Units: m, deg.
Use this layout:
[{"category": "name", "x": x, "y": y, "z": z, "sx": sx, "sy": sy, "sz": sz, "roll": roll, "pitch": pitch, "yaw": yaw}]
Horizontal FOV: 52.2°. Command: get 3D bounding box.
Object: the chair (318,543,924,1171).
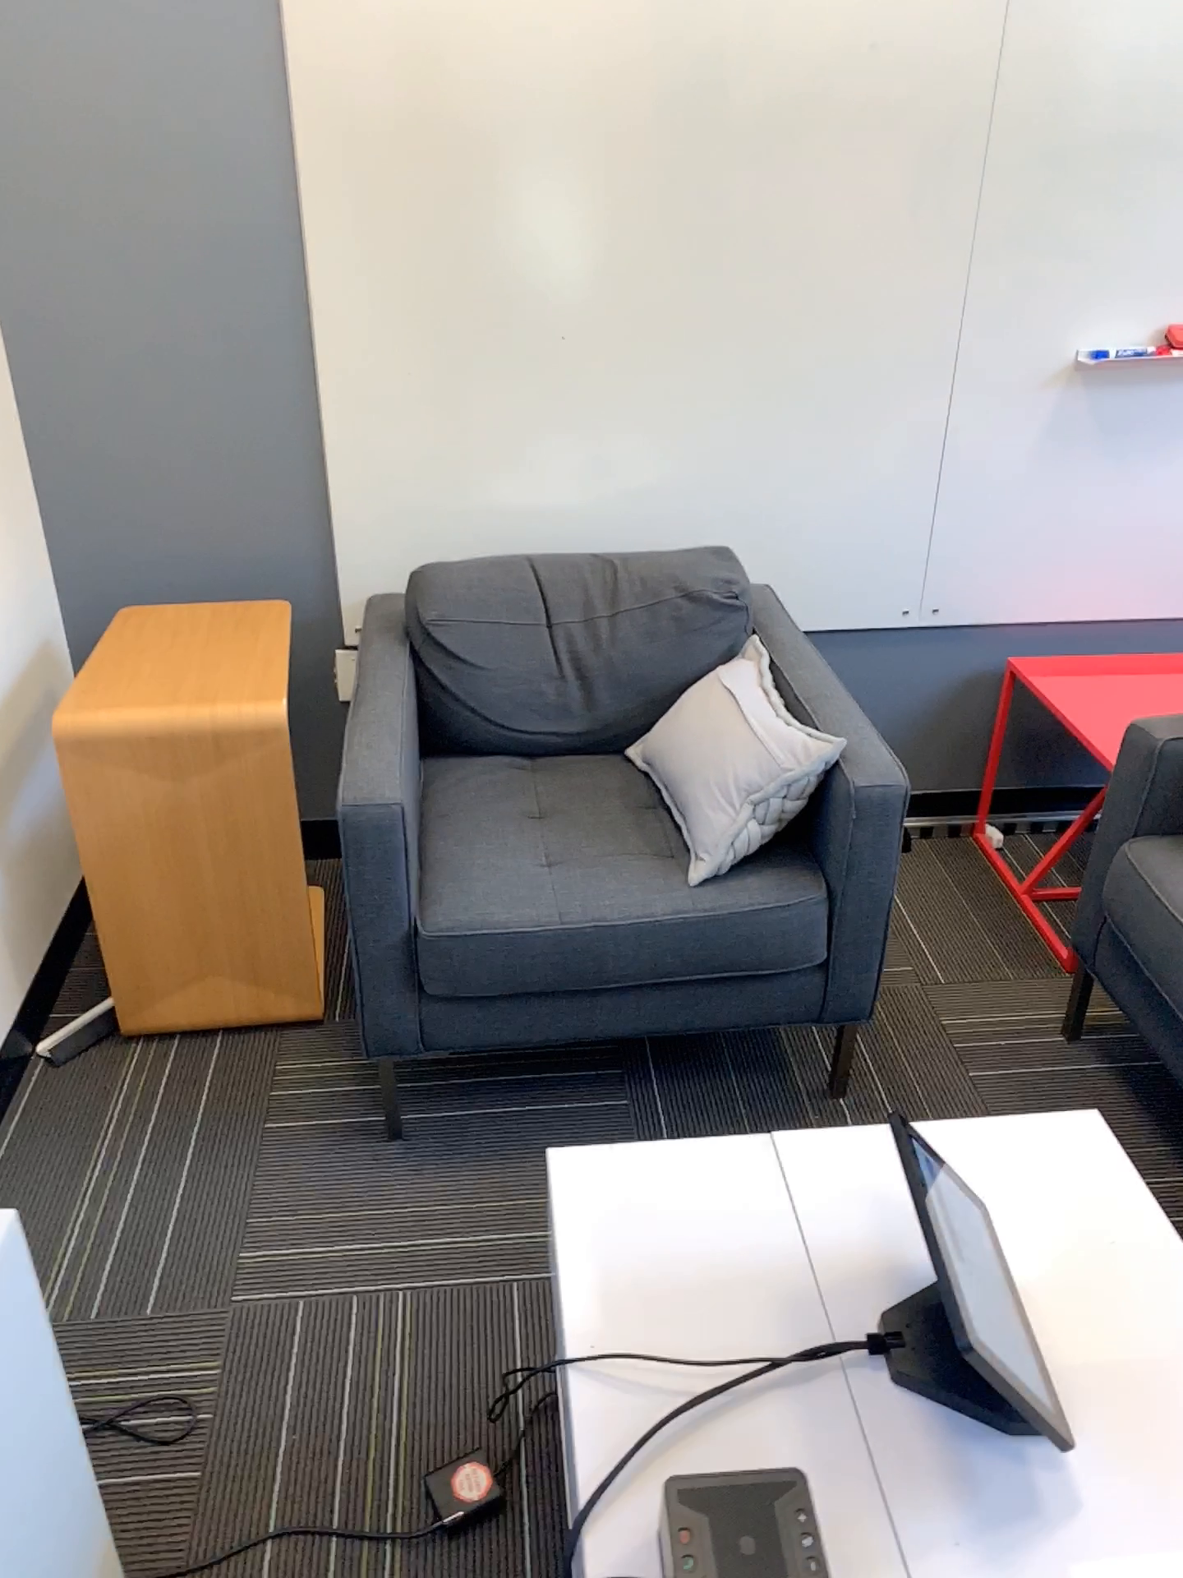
[{"category": "chair", "x": -0.014, "y": 0.052, "z": 2.235, "sx": 0.840, "sy": 0.716, "sz": 0.946, "roll": -3, "pitch": 30, "yaw": -7}]
